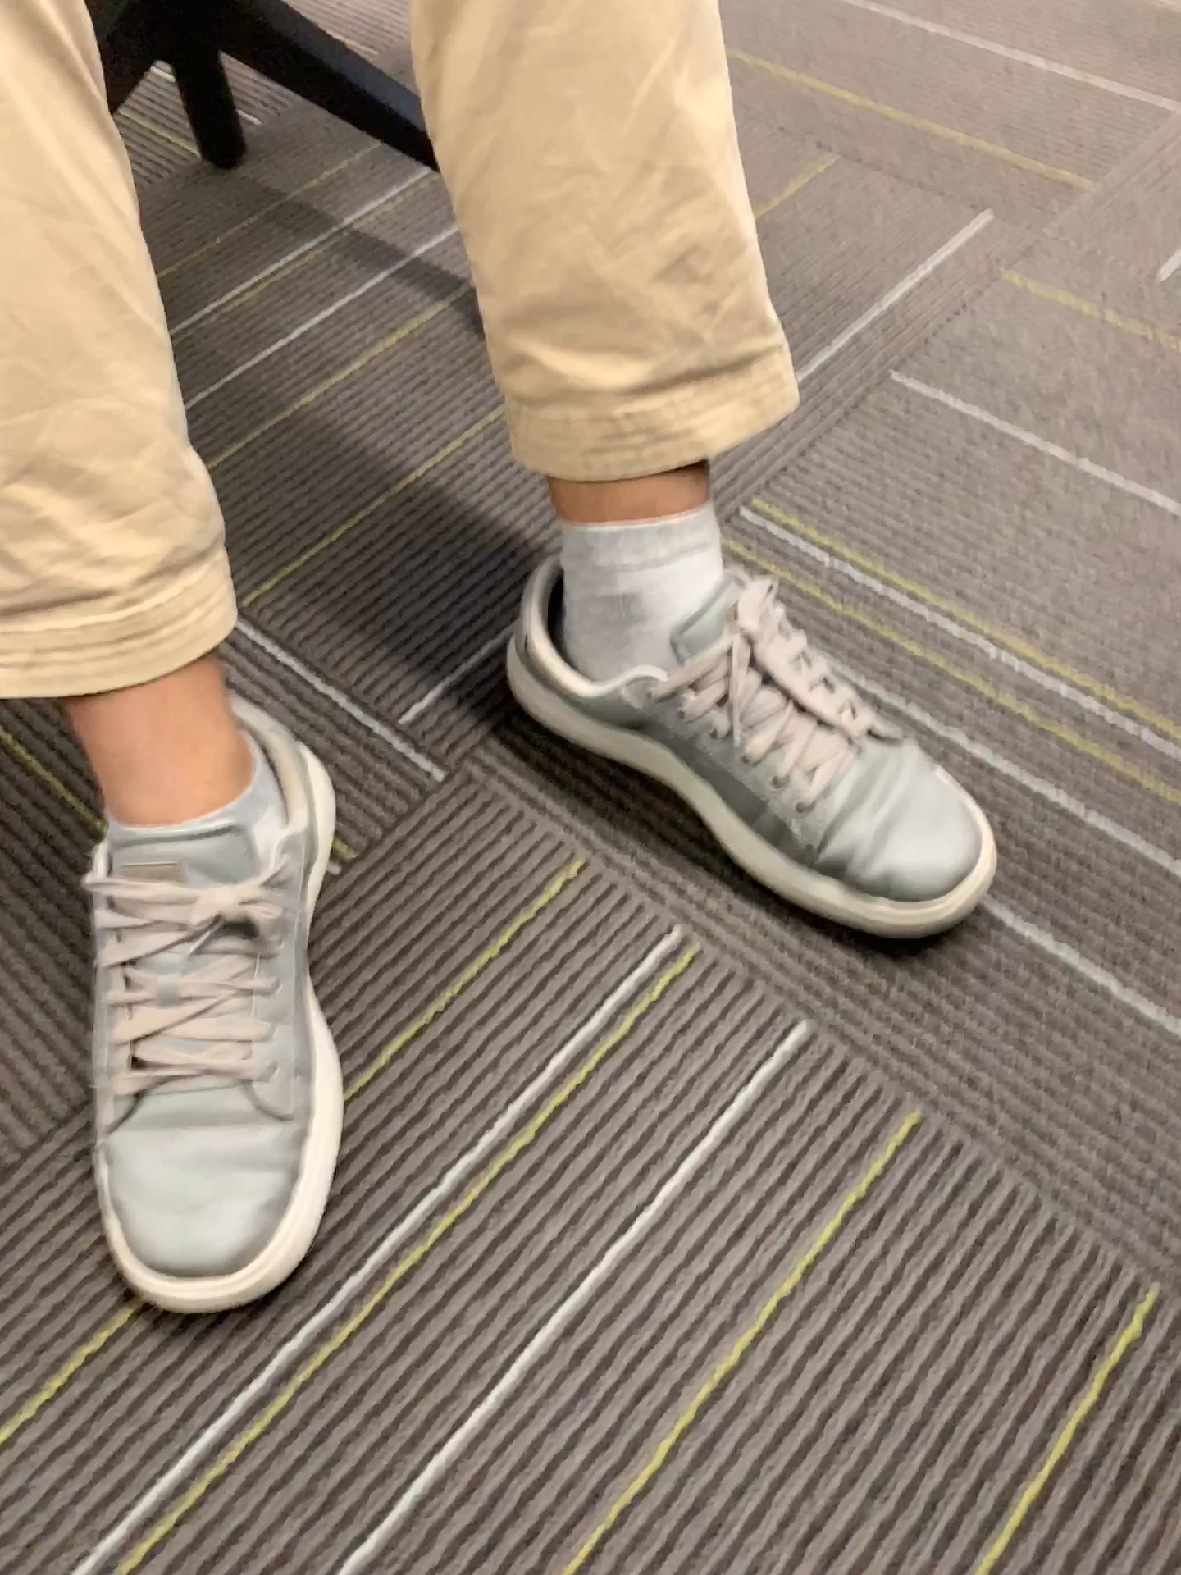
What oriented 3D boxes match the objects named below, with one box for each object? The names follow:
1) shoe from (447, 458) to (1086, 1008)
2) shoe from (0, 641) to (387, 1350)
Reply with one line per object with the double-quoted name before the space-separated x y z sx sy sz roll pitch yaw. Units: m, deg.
"shoe" 0.078 -0.036 0.614 0.281 0.110 0.120 34 65 24
"shoe" -0.168 0.088 0.543 0.120 0.140 0.271 -5 56 1
